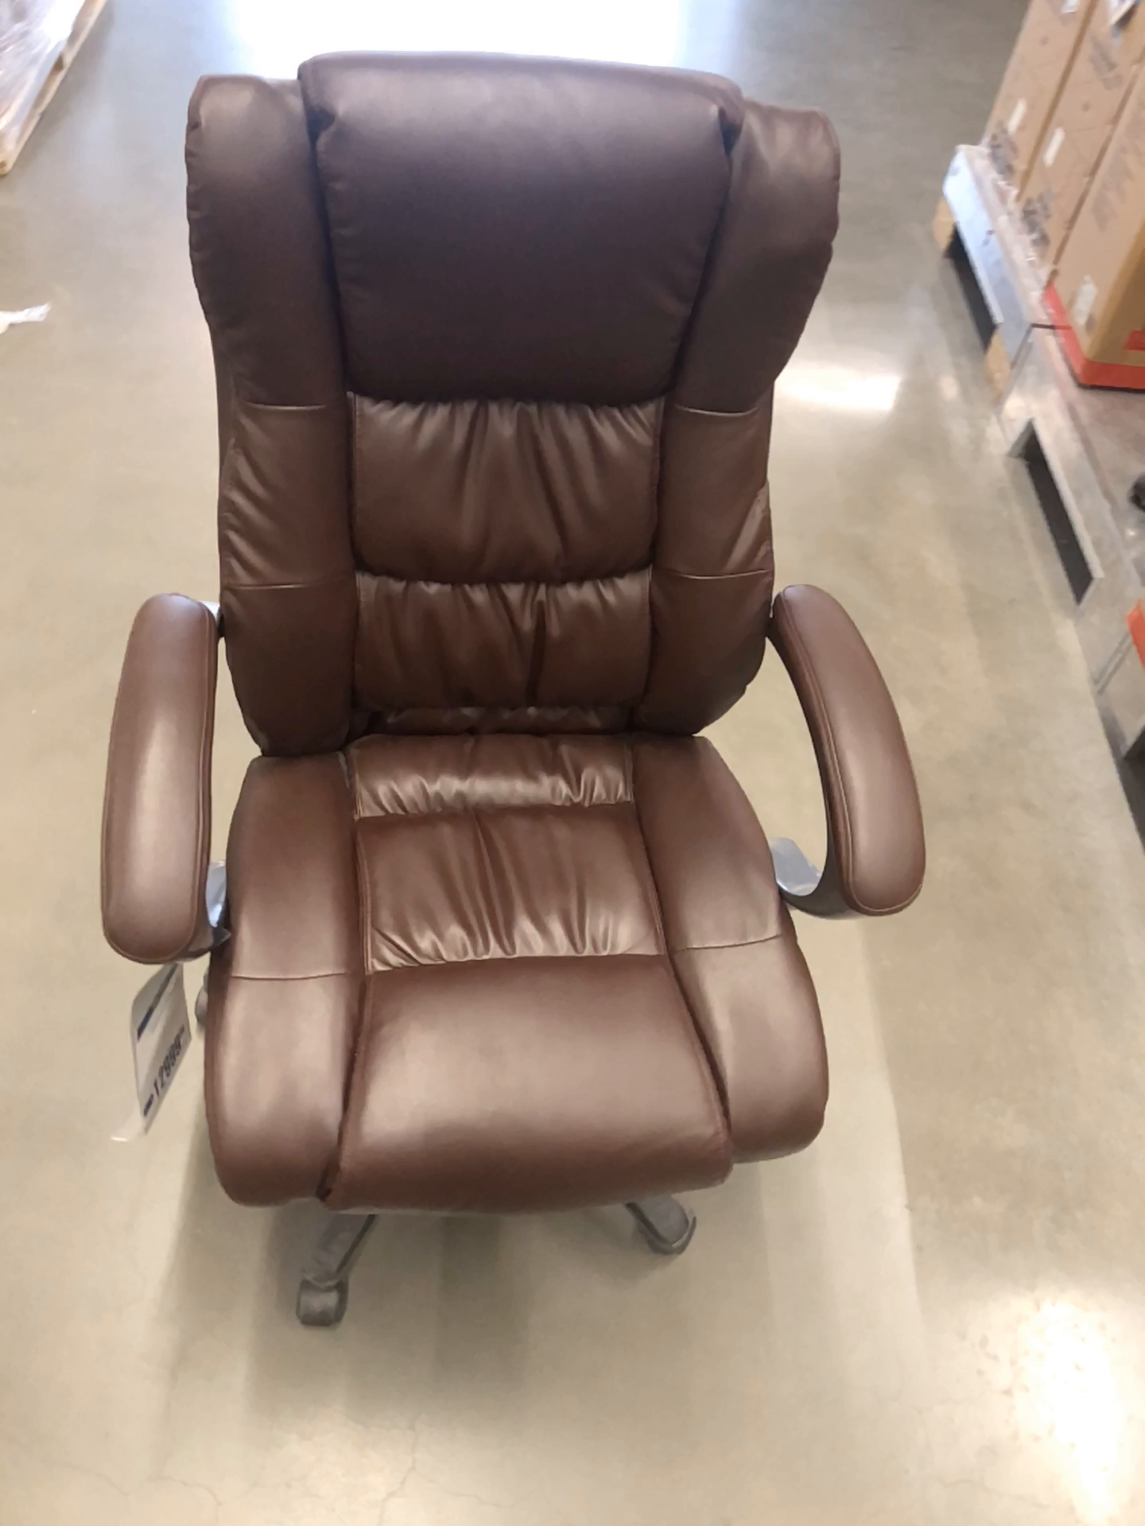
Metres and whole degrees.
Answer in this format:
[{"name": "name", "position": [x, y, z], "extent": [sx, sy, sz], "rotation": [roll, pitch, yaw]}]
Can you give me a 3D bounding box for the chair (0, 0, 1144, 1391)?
[{"name": "chair", "position": [-0.062, 0.038, 1.123], "extent": [0.680, 1.094, 0.654], "rotation": [-1, 50, -8]}]
